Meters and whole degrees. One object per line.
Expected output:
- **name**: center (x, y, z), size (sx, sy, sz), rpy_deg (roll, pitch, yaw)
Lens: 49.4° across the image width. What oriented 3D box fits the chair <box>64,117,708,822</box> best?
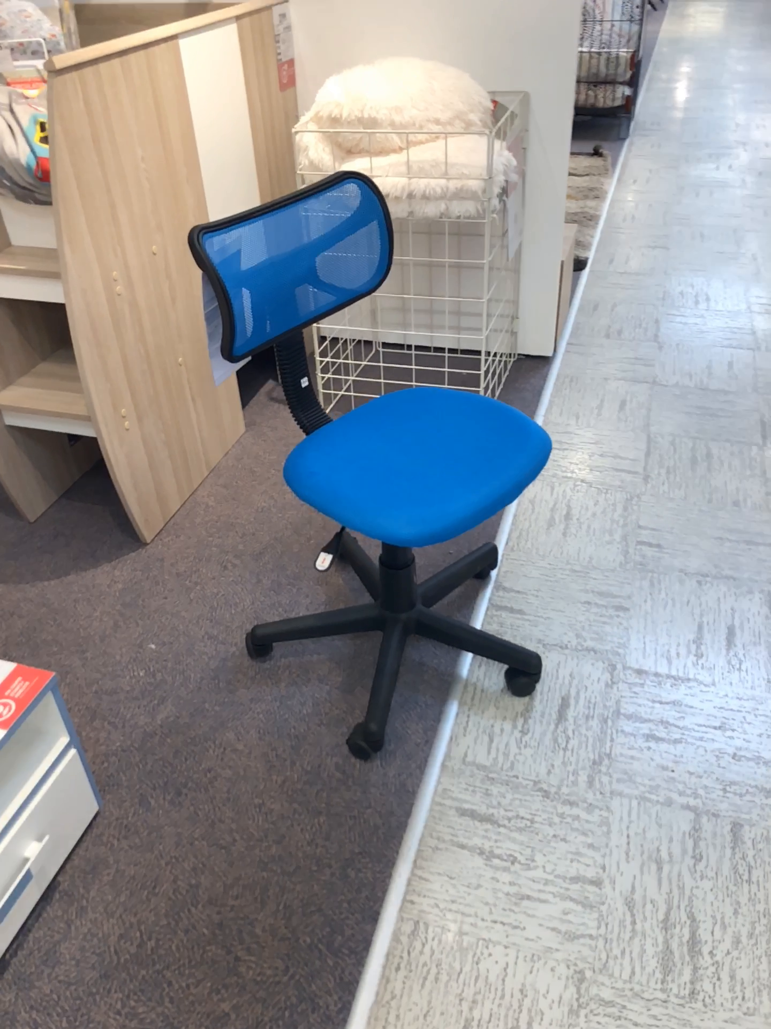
- **chair**: center (0.046, -0.129, 1.373), size (0.610, 0.795, 0.664), rpy_deg (20, 42, 29)
